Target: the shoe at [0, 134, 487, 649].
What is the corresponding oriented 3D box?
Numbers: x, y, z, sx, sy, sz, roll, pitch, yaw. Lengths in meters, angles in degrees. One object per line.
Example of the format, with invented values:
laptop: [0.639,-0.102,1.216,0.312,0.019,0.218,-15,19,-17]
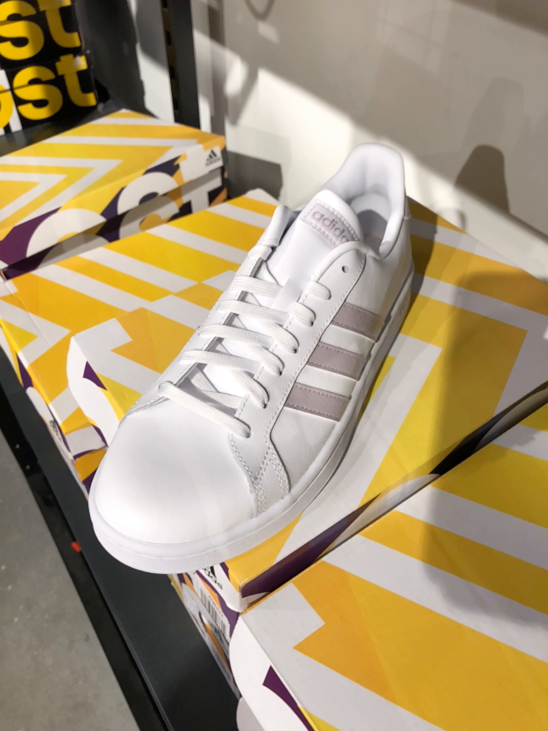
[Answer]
shoe: [0.006,-0.016,0.342,0.110,0.090,0.291,25,51,21]
